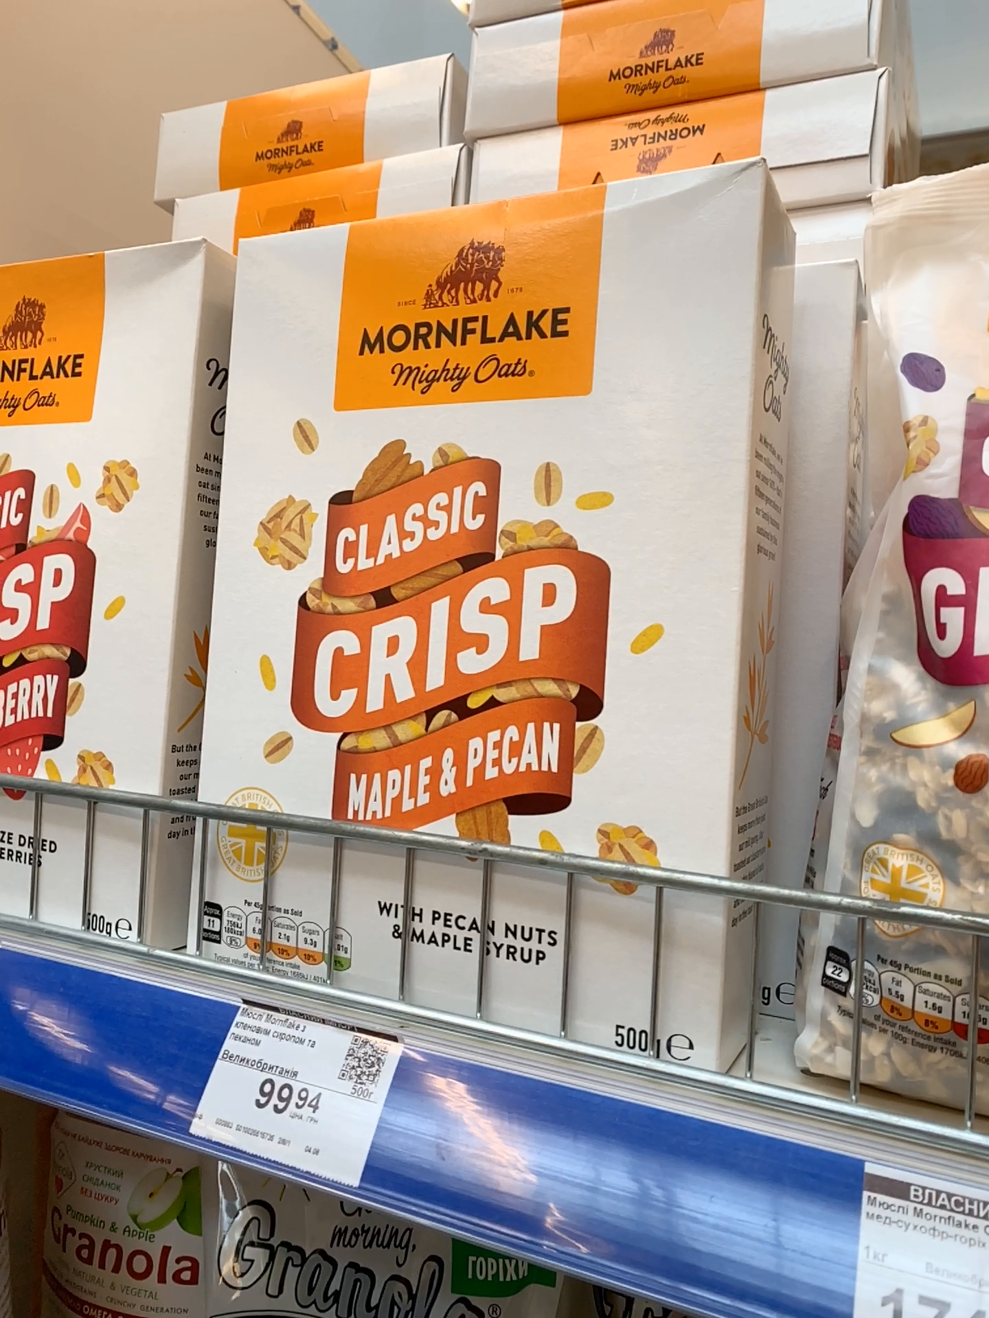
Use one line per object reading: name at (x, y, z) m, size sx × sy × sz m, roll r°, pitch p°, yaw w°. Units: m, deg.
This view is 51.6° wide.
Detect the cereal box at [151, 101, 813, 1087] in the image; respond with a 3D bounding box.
cereal box at (-0.008, -0.022, 0.326) m, size 0.190 × 0.250 × 0.060 m, roll 3°, pitch -1°, yaw 26°
